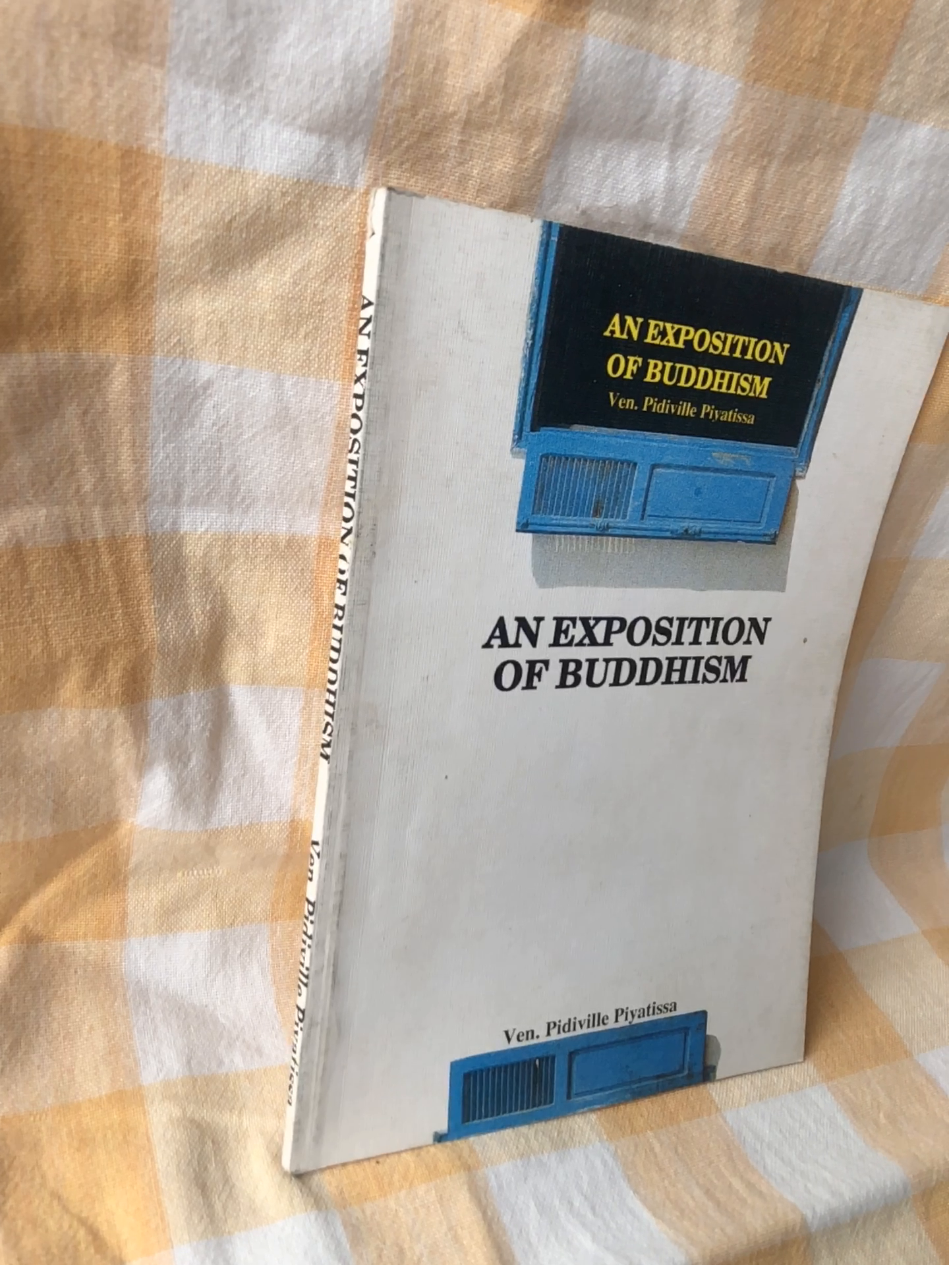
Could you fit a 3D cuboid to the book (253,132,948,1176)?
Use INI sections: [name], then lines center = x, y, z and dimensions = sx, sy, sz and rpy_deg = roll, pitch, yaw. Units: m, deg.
[book]
center = 0.029, 0.013, 0.232
dimensions = 0.140, 0.199, 0.020
rpy_deg = 0, 15, -25
